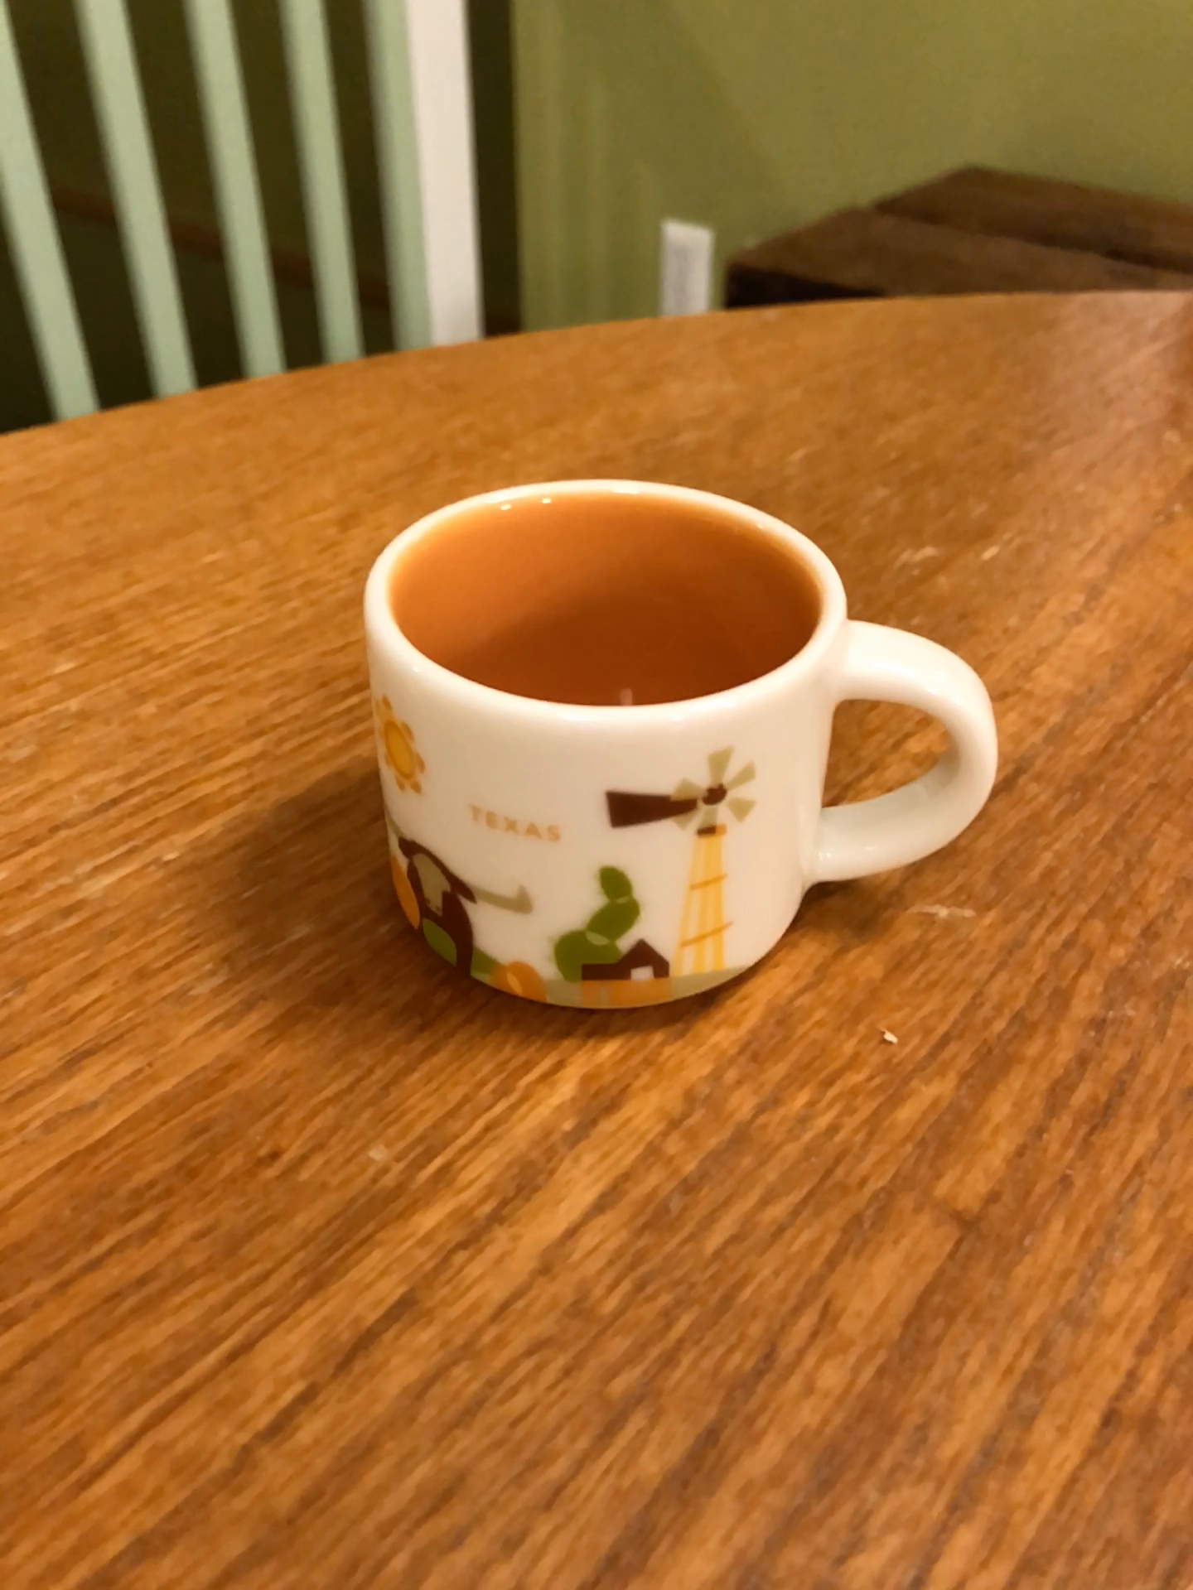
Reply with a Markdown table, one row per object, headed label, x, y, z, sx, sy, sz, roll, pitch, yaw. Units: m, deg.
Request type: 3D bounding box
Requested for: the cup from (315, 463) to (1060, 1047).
| label | x | y | z | sx | sy | sz | roll | pitch | yaw |
| --- | --- | --- | --- | --- | --- | --- | --- | --- | --- |
| cup | 0.012 | -0.008 | 0.182 | 0.080 | 0.049 | 0.060 | 4 | 37 | 5 |
